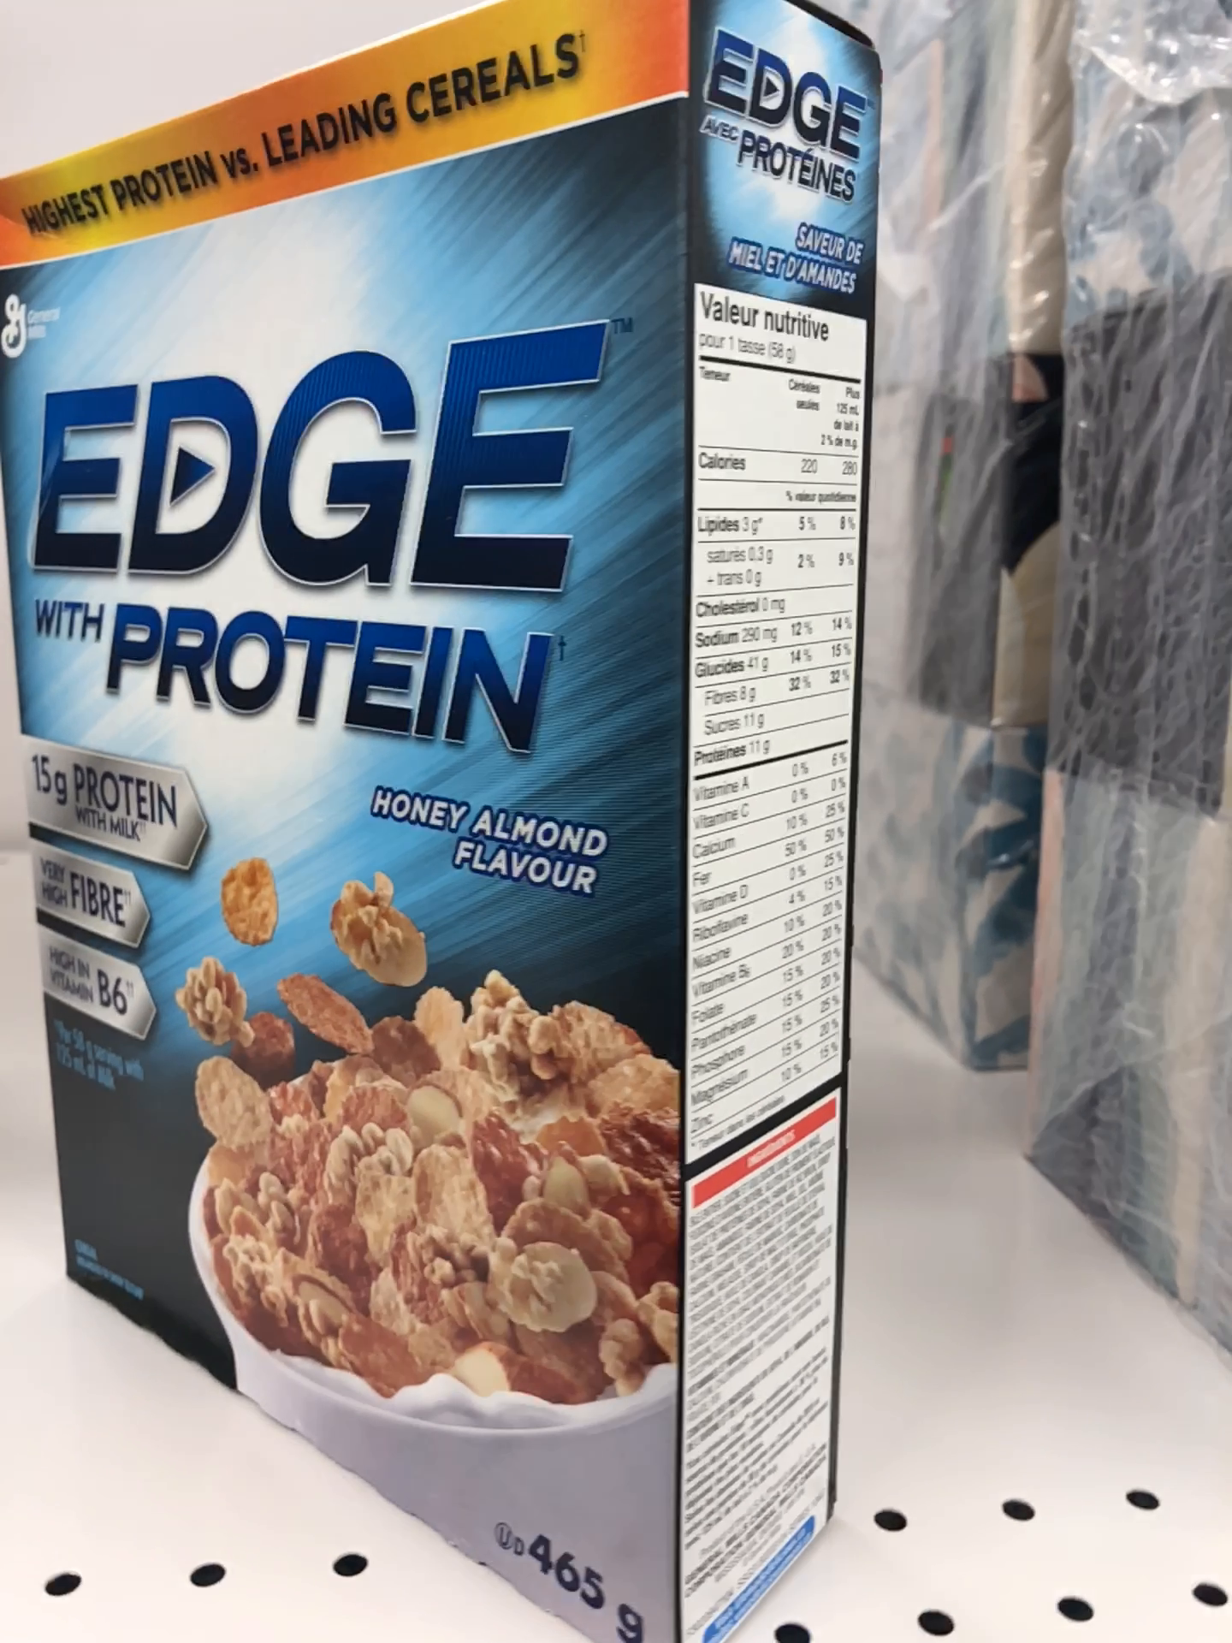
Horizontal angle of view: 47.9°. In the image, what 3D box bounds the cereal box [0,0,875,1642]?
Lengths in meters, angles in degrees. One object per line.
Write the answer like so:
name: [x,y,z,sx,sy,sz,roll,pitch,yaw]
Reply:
cereal box: [-0.050,0.001,0.287,0.200,0.279,0.050,9,15,40]
